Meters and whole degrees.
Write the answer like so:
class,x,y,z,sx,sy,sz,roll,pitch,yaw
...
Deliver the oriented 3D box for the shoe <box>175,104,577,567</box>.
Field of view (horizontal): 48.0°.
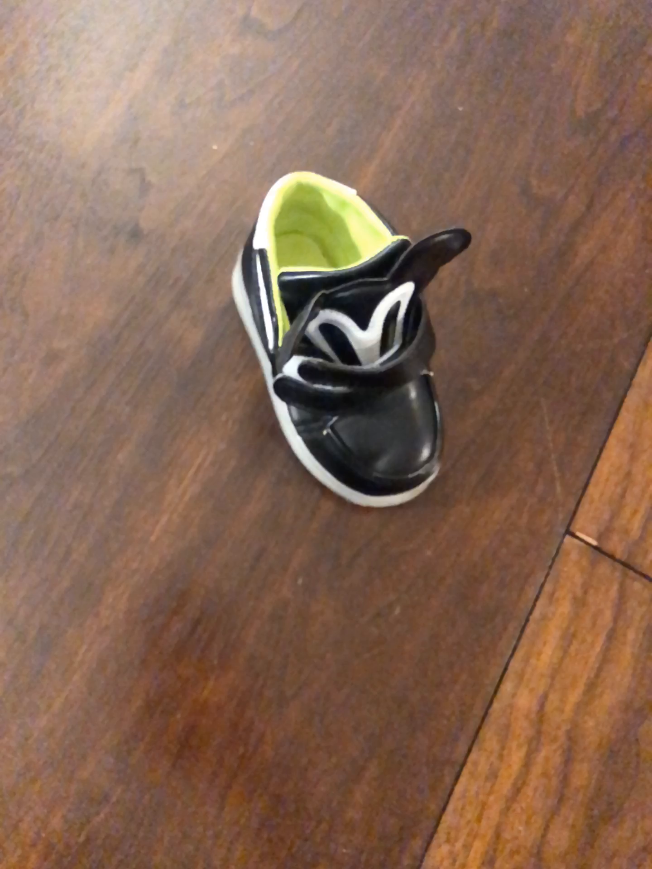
class,x,y,z,sx,sy,sz,roll,pitch,yaw
shoe,0.011,-0.034,0.316,0.090,0.100,0.150,-26,83,-14
